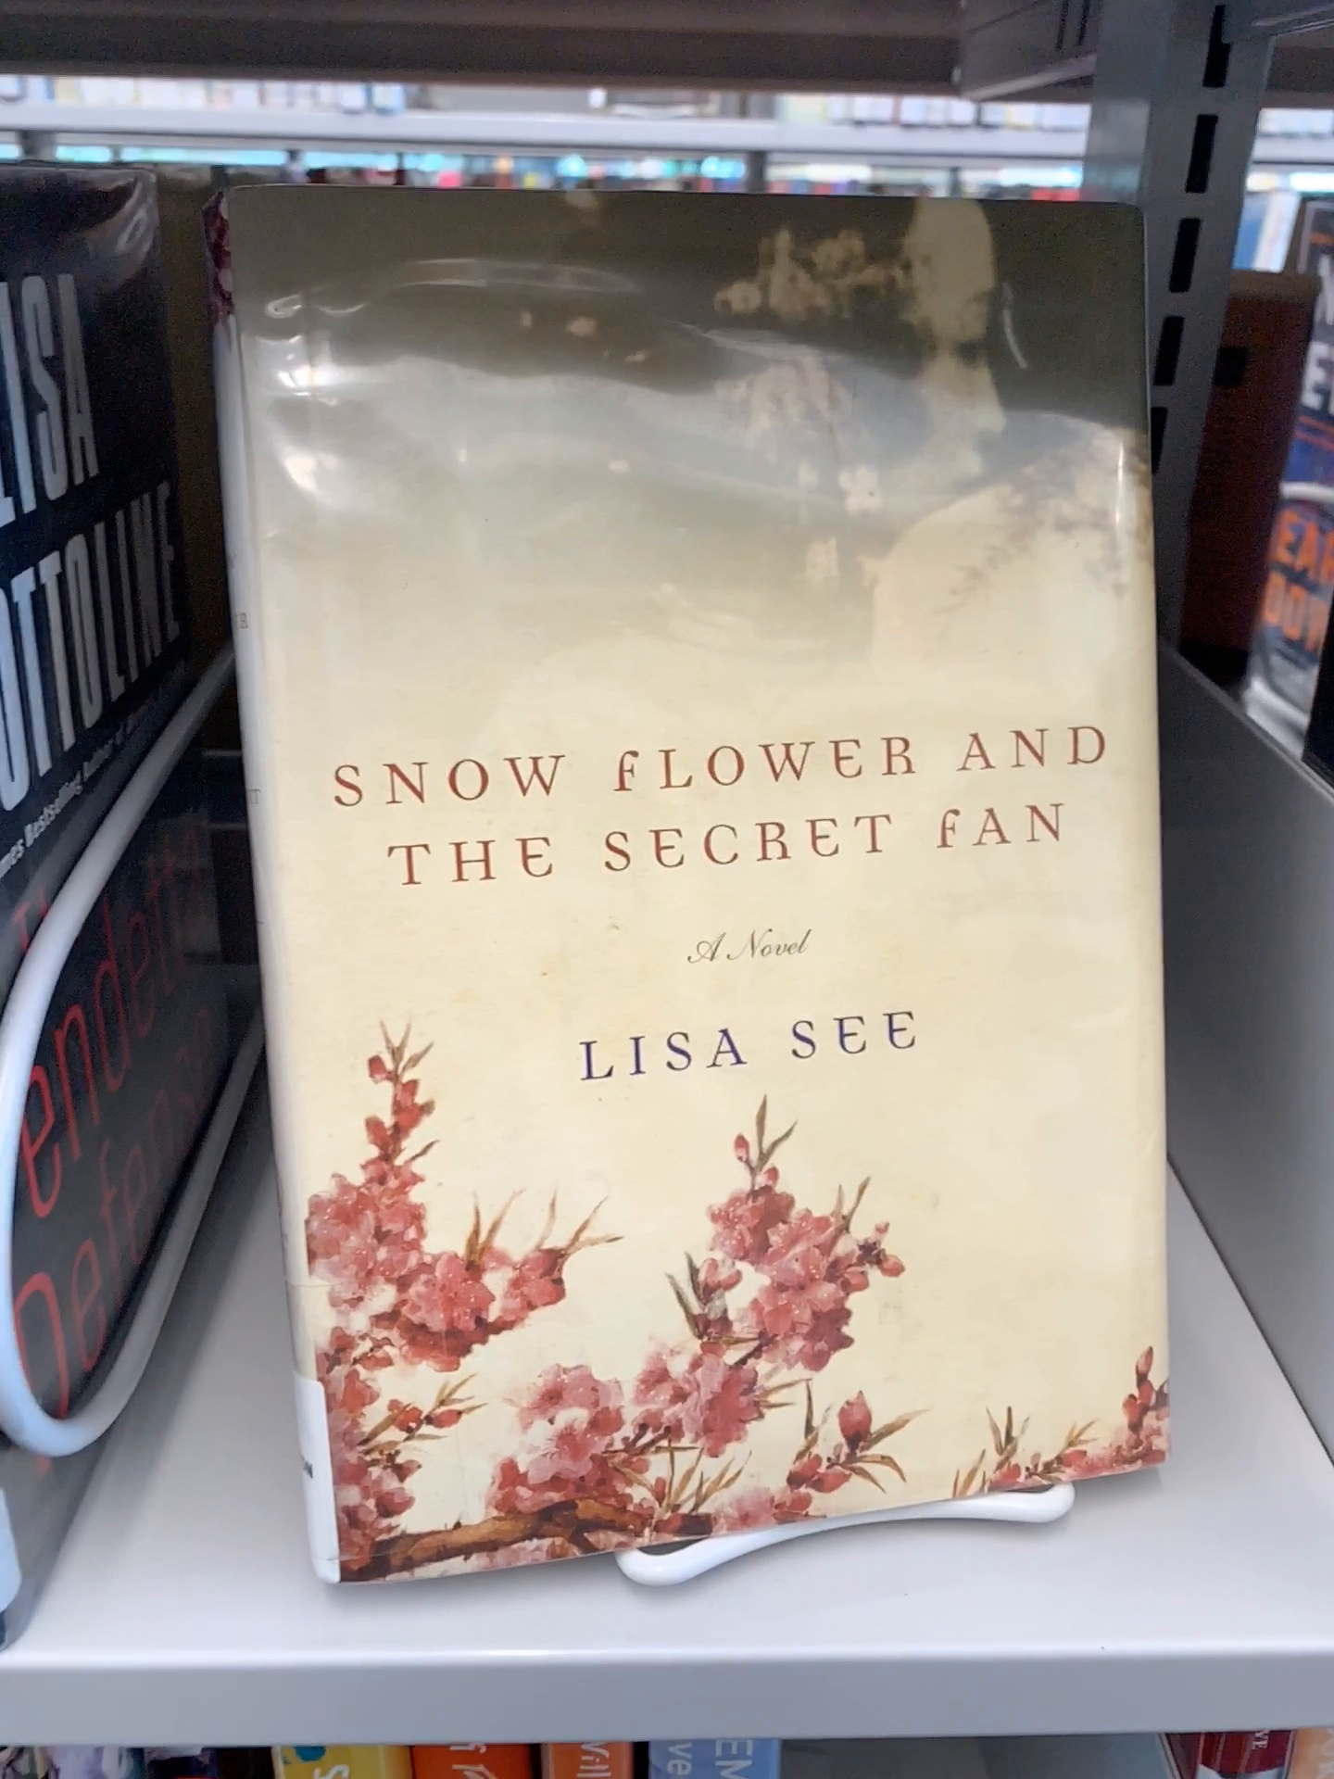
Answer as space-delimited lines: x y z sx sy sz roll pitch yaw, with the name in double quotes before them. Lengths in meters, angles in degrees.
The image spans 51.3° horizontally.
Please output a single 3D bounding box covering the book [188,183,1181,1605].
"book" 0.008 -0.002 0.259 0.162 0.231 0.041 -4 6 -11
